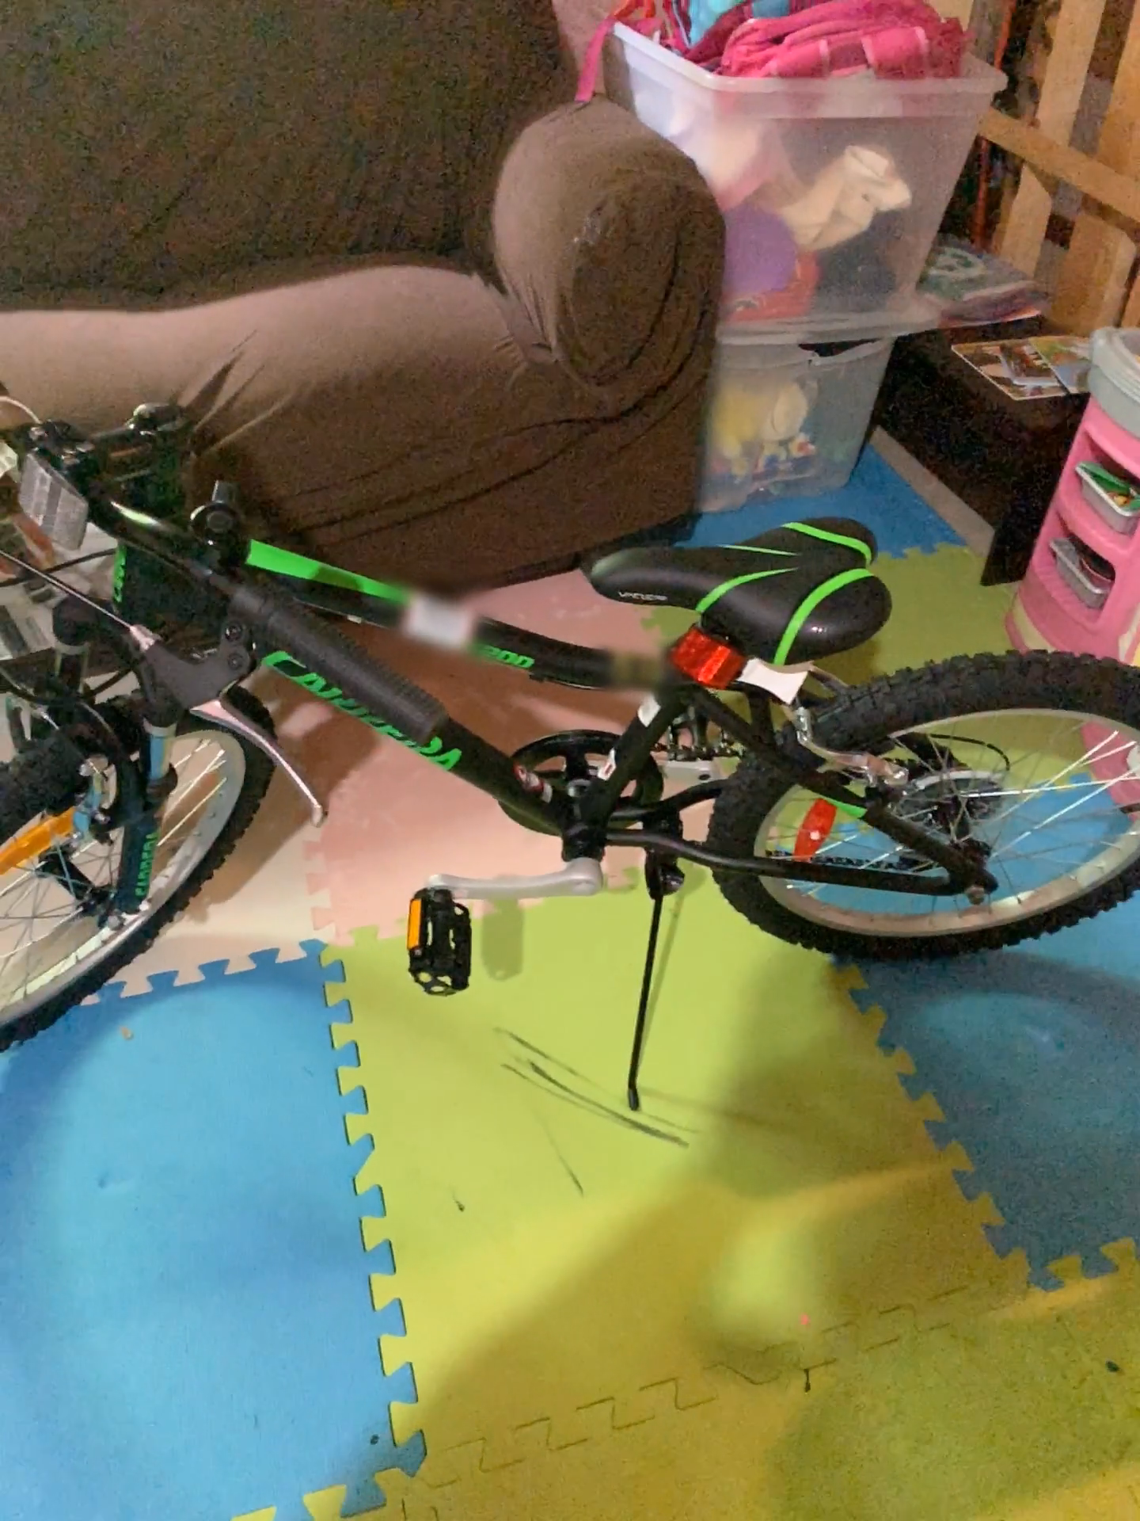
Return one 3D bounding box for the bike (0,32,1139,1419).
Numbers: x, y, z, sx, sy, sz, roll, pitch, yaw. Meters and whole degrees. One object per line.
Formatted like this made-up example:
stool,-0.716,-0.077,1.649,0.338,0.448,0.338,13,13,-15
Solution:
bike,-0.015,-0.009,0.998,1.268,0.841,0.536,-9,43,-5
